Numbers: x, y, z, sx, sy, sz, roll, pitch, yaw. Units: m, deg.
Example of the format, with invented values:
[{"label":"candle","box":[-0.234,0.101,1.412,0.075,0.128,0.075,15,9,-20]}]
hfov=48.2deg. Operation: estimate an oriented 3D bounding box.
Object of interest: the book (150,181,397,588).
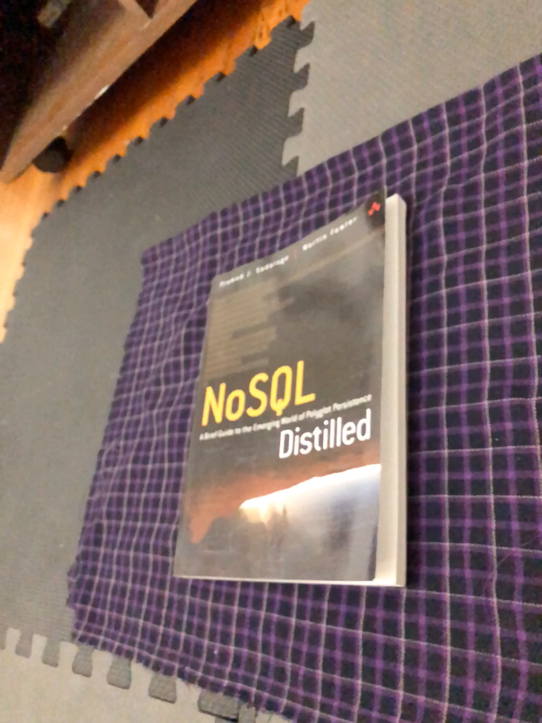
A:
[{"label":"book","box":[0.000,0.020,0.419,0.191,0.020,0.250,-18,57,42]}]
